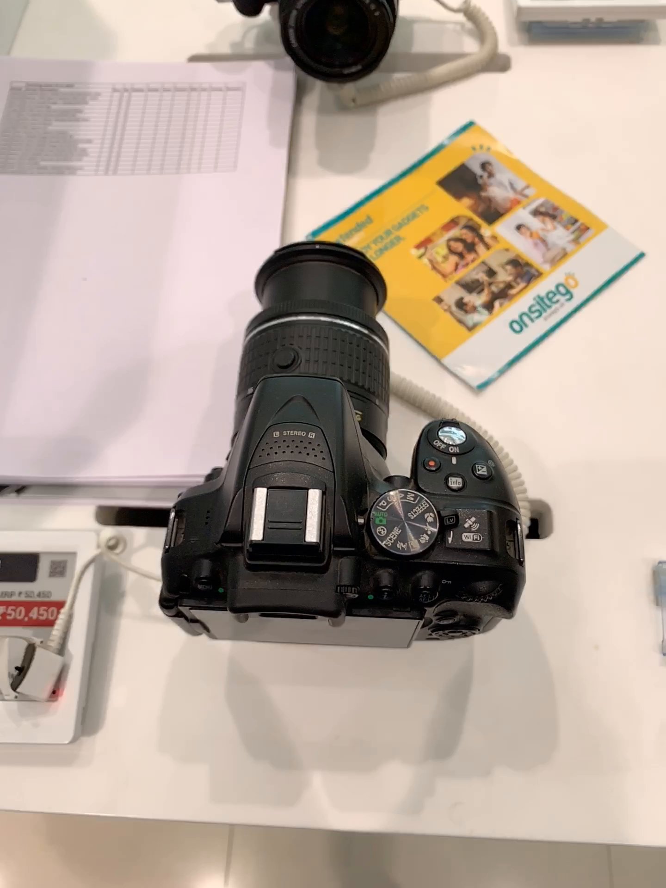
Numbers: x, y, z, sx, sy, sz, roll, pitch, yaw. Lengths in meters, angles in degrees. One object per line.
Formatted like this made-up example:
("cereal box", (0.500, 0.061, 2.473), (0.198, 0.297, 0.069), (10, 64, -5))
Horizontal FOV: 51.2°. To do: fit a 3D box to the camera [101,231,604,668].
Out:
("camera", (0.009, 0.008, 0.230), (0.118, 0.100, 0.107), (3, 64, 4))
